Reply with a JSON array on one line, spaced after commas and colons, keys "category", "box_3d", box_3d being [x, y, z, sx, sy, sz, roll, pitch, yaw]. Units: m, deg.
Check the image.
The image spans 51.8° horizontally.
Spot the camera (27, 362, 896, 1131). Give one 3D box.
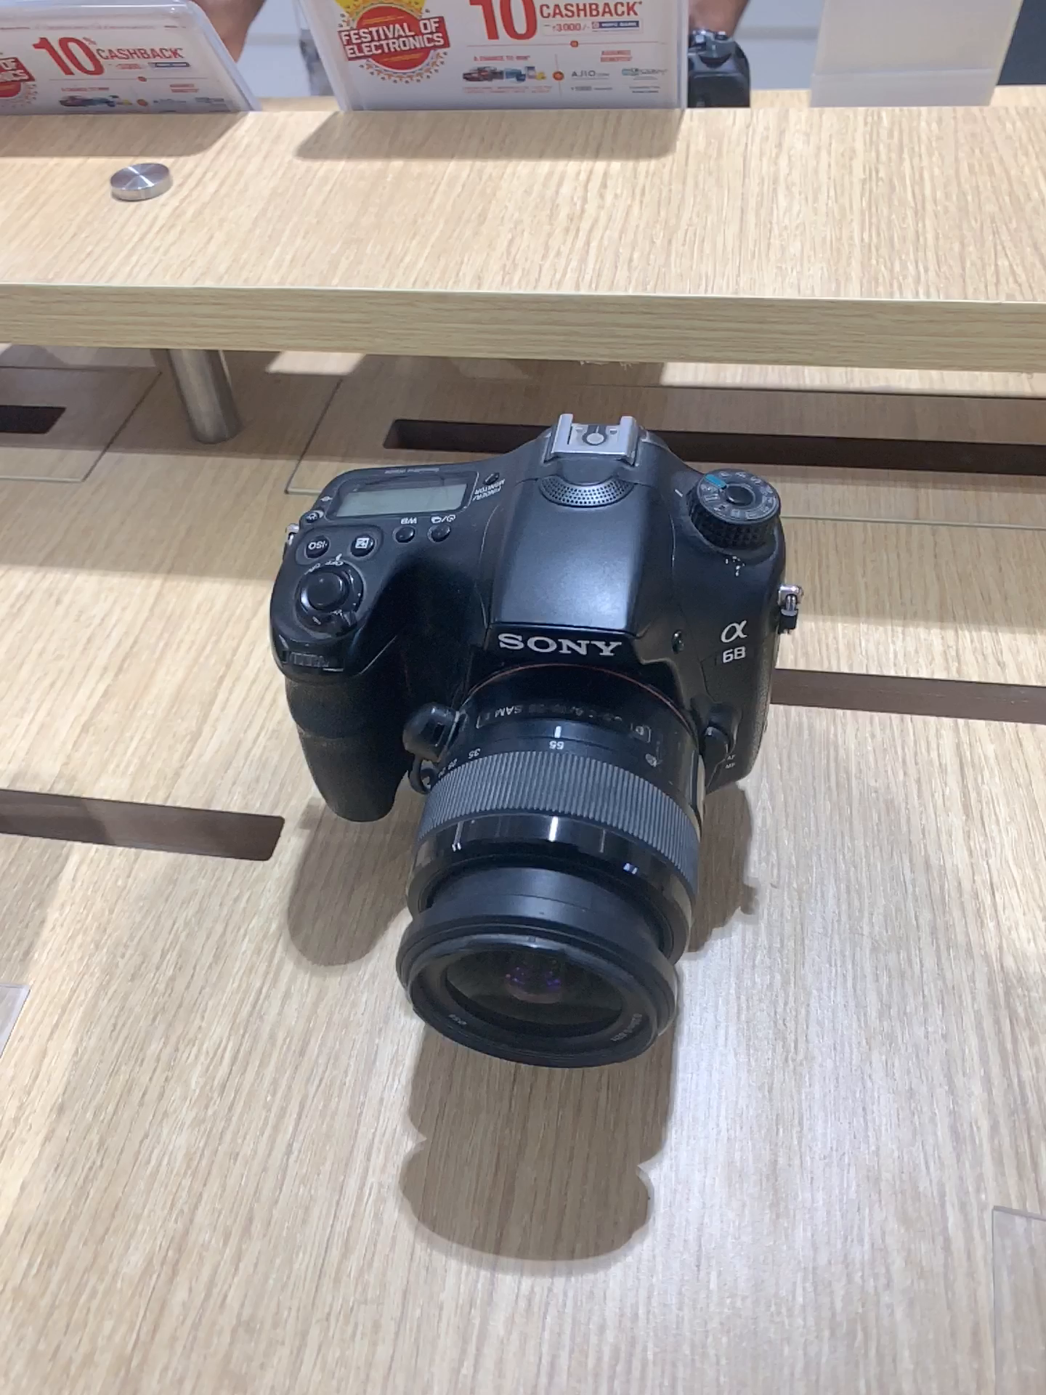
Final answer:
[{"category": "camera", "box_3d": [0.000, 0.004, 0.268, 0.150, 0.100, 0.150, 4, 49, 9]}]
